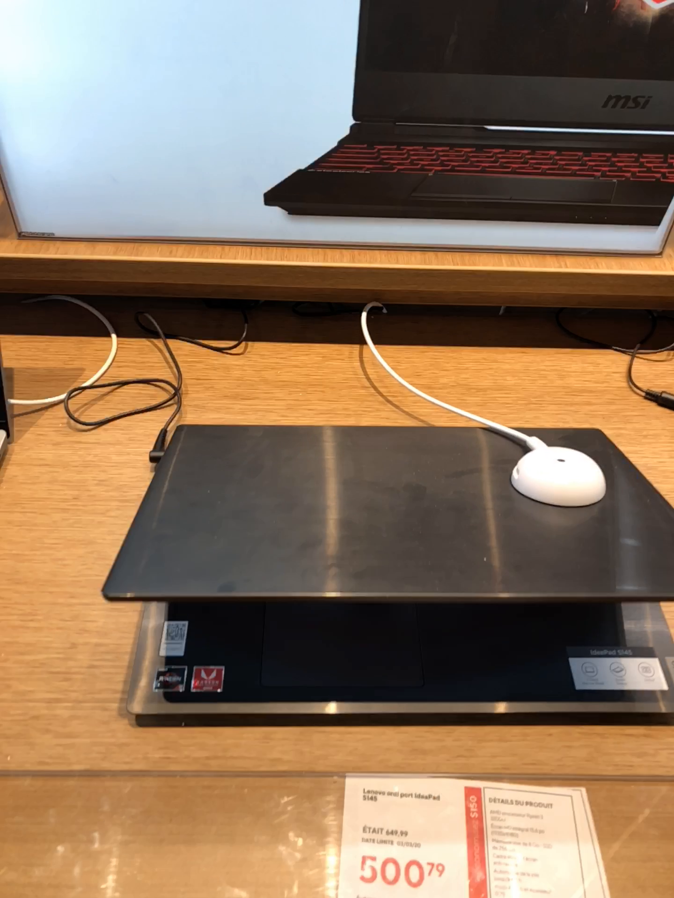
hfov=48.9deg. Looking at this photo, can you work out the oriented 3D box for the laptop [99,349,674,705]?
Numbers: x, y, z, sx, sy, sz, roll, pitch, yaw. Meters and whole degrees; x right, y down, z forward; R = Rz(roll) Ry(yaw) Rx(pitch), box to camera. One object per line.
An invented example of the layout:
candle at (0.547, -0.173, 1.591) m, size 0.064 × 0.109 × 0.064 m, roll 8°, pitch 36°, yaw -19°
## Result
laptop at (0.040, 0.041, 0.502) m, size 0.330 × 0.083 × 0.224 m, roll 1°, pitch 48°, yaw -5°
